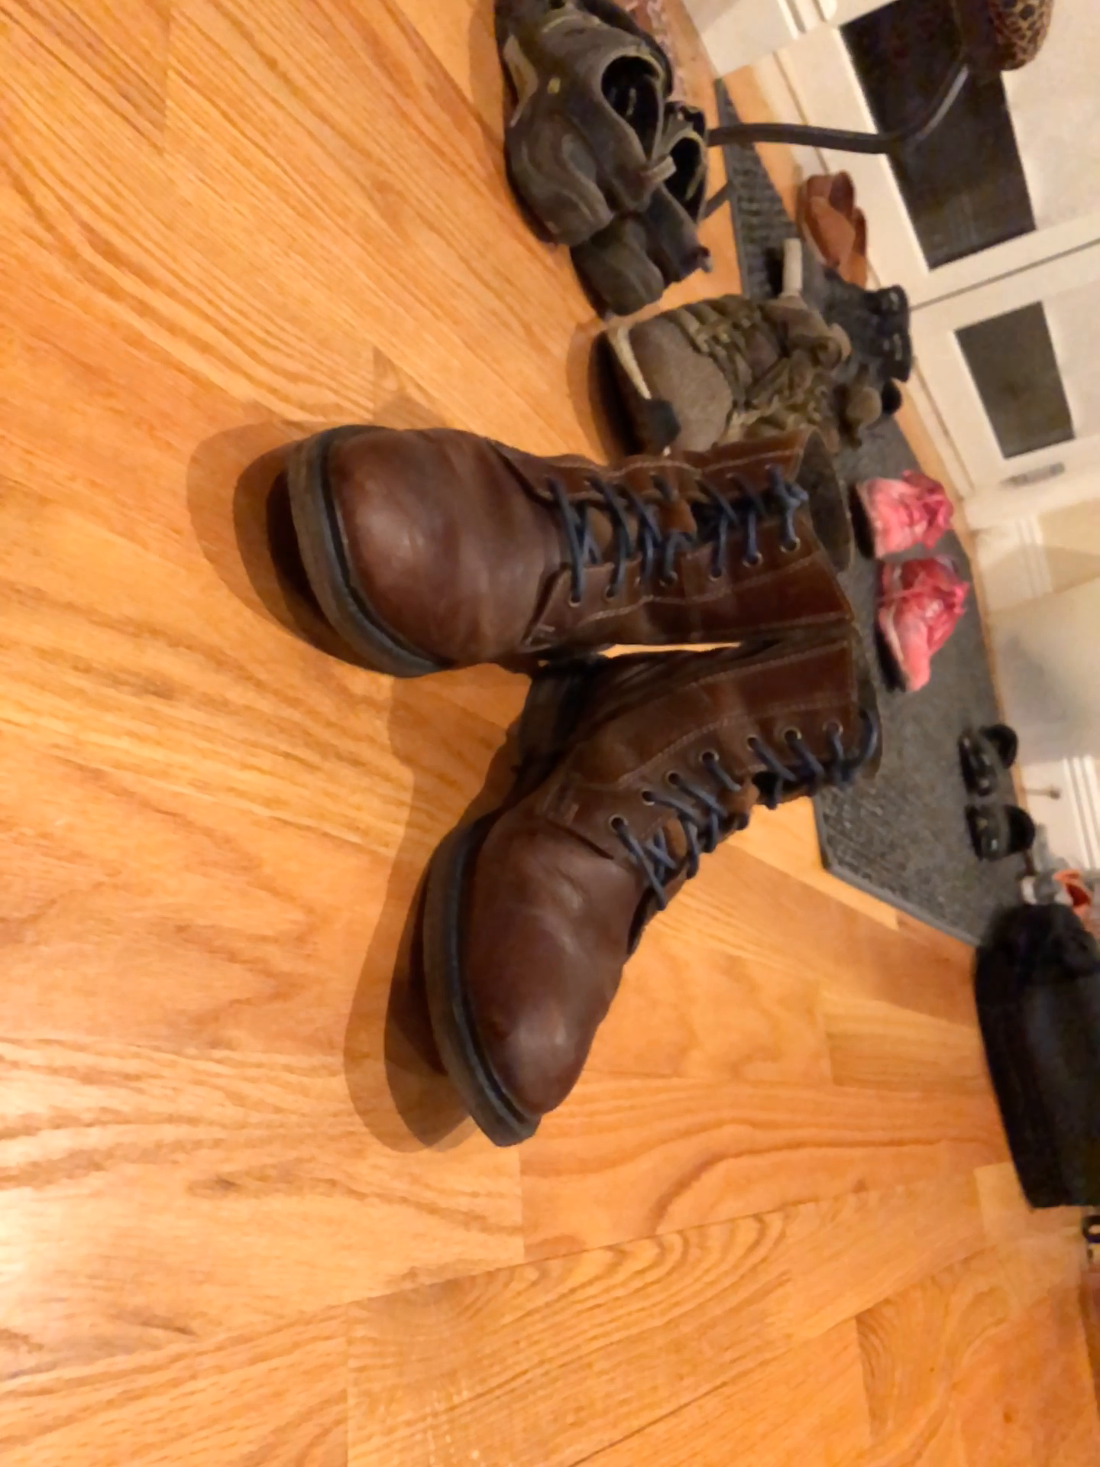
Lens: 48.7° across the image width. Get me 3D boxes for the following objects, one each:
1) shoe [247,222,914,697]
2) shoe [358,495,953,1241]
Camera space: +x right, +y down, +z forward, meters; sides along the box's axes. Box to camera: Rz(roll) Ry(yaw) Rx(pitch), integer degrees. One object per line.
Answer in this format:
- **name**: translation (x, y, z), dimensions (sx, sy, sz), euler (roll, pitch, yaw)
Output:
- **shoe**: translation (0.041, -0.094, 0.551), dimensions (0.311, 0.168, 0.113), euler (-6, 83, -64)
- **shoe**: translation (0.070, 0.047, 0.544), dimensions (0.128, 0.176, 0.305), euler (60, 30, -30)
